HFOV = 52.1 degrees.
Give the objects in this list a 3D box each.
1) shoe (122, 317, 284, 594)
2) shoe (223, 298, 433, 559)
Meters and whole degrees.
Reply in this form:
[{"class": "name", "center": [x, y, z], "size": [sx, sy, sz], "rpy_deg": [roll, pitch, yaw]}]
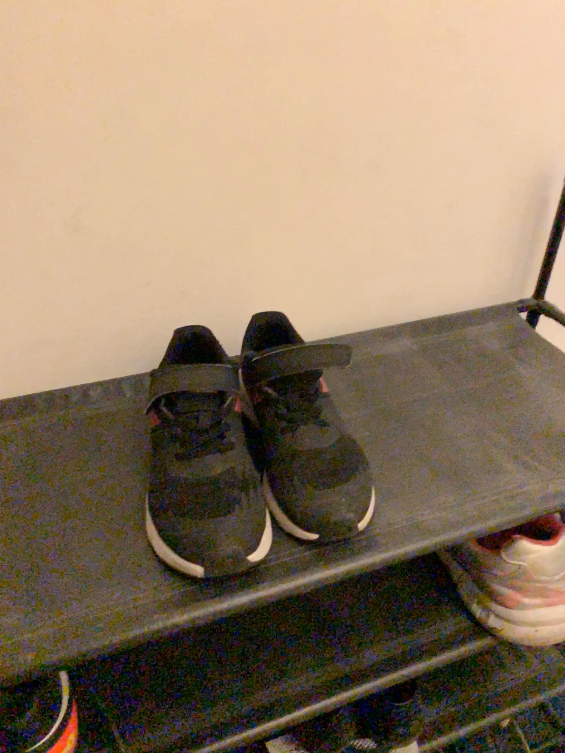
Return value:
[{"class": "shoe", "center": [-0.066, 0.042, 0.428], "size": [0.090, 0.079, 0.202], "rpy_deg": [-7, 34, -11]}, {"class": "shoe", "center": [0.020, 0.024, 0.443], "size": [0.090, 0.079, 0.202], "rpy_deg": [-9, 34, -14]}]
